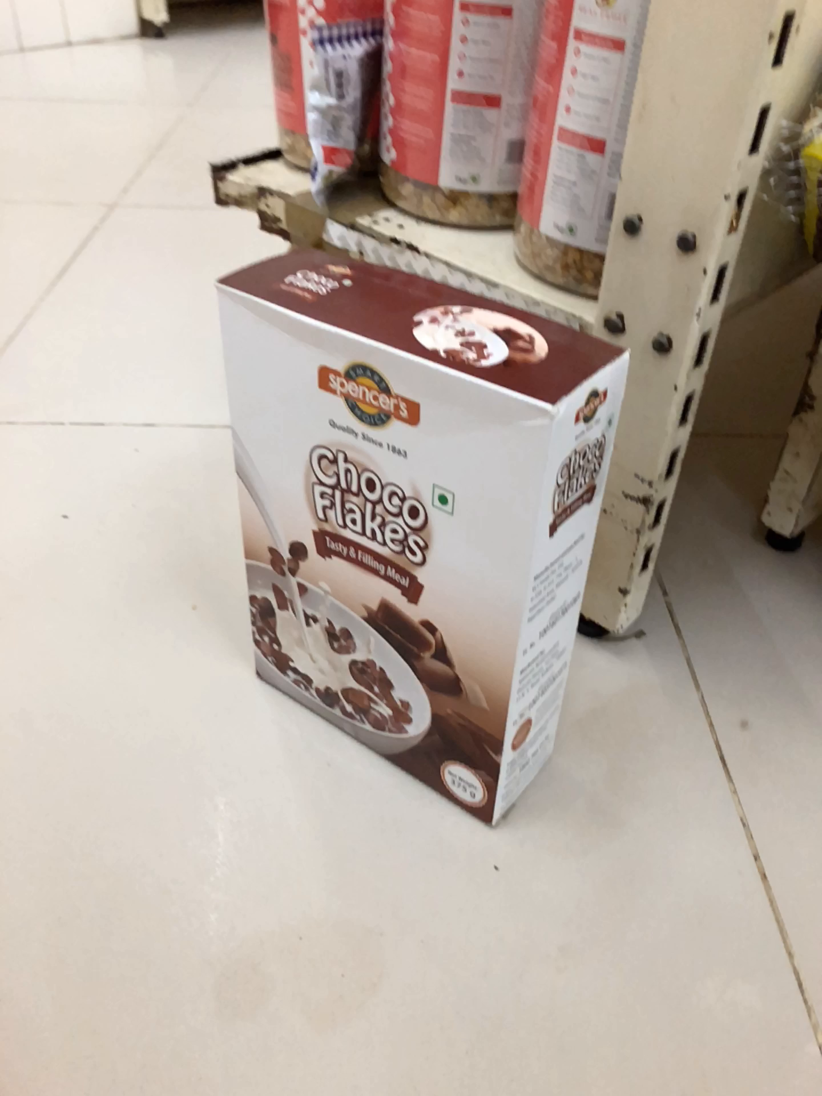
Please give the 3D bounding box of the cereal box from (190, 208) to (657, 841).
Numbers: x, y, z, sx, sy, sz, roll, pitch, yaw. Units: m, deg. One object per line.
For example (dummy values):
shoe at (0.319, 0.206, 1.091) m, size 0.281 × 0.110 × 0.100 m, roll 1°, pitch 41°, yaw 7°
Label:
cereal box at (-0.004, -0.007, 0.442) m, size 0.190 × 0.258 × 0.060 m, roll 26°, pitch 44°, yaw 29°
